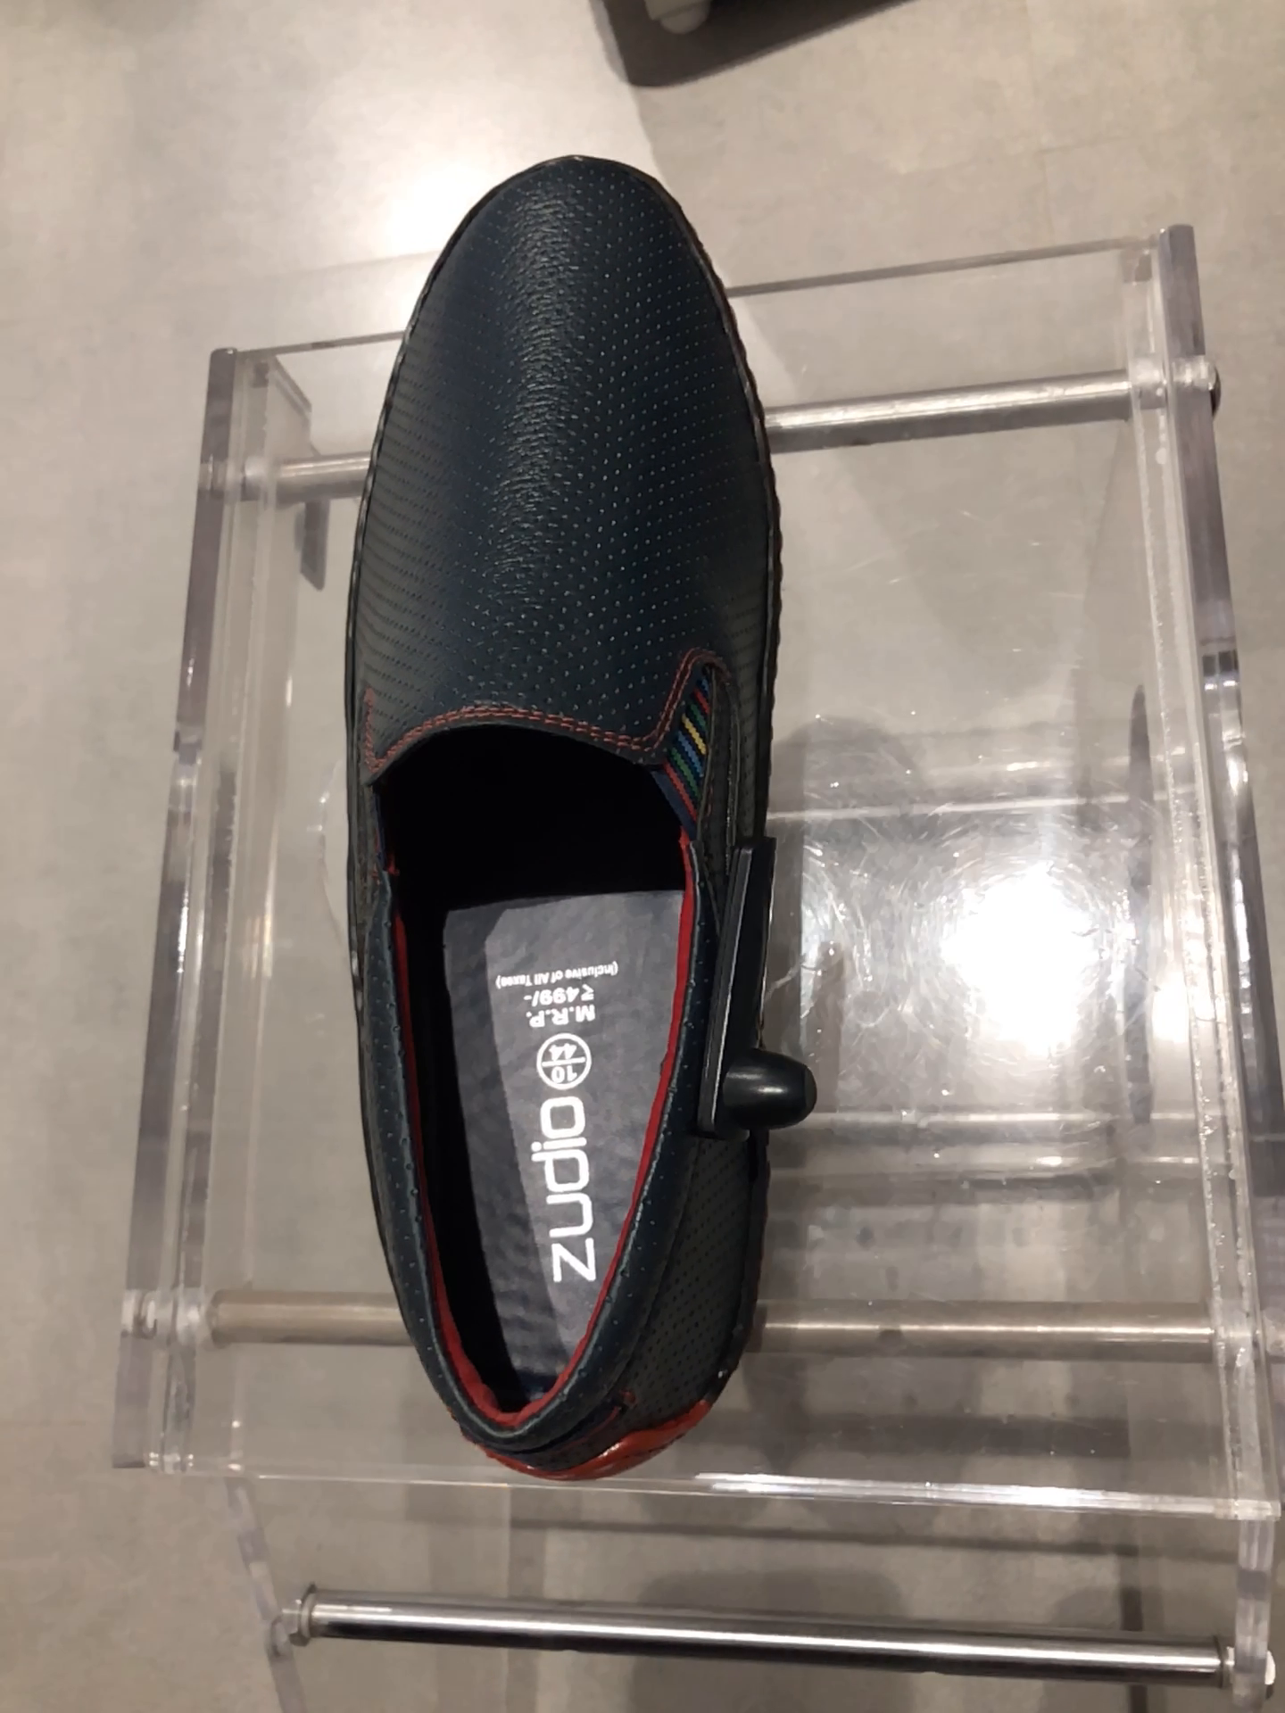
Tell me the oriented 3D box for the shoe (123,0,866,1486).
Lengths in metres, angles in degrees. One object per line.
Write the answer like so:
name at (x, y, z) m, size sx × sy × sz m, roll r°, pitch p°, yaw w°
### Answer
shoe at (-0.023, -0.024, 0.297) m, size 0.110 × 0.100 × 0.270 m, roll -6°, pitch 75°, yaw 12°
